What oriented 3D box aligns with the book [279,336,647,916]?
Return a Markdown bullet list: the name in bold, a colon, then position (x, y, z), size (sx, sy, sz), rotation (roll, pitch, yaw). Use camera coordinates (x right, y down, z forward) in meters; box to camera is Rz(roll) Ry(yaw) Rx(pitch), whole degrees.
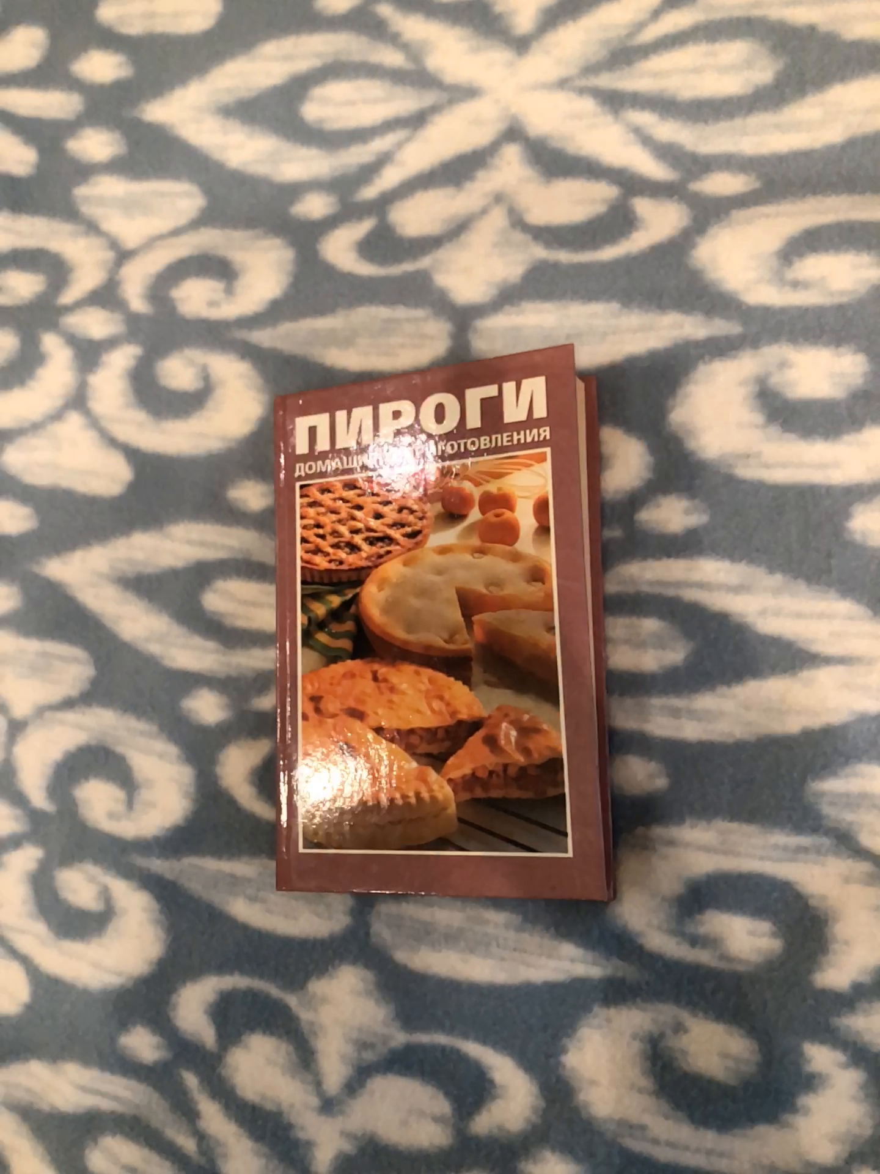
- **book**: position (0.005, 0.016, 0.378), size (0.131, 0.040, 0.201), rotation (-5, 82, 21)
